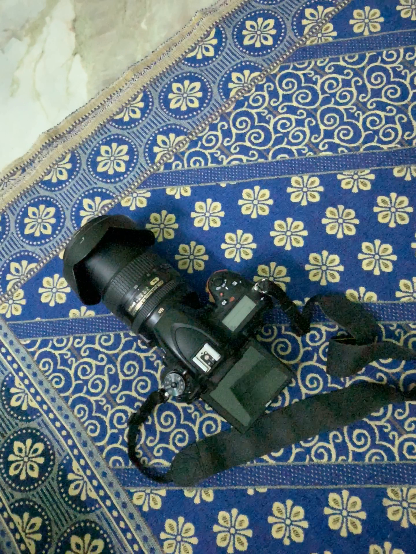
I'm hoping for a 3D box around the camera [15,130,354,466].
[{"bbox_3d":[-0.030,0.014,0.467,0.320,0.110,0.160,42,88,16],"label":"camera"}]
